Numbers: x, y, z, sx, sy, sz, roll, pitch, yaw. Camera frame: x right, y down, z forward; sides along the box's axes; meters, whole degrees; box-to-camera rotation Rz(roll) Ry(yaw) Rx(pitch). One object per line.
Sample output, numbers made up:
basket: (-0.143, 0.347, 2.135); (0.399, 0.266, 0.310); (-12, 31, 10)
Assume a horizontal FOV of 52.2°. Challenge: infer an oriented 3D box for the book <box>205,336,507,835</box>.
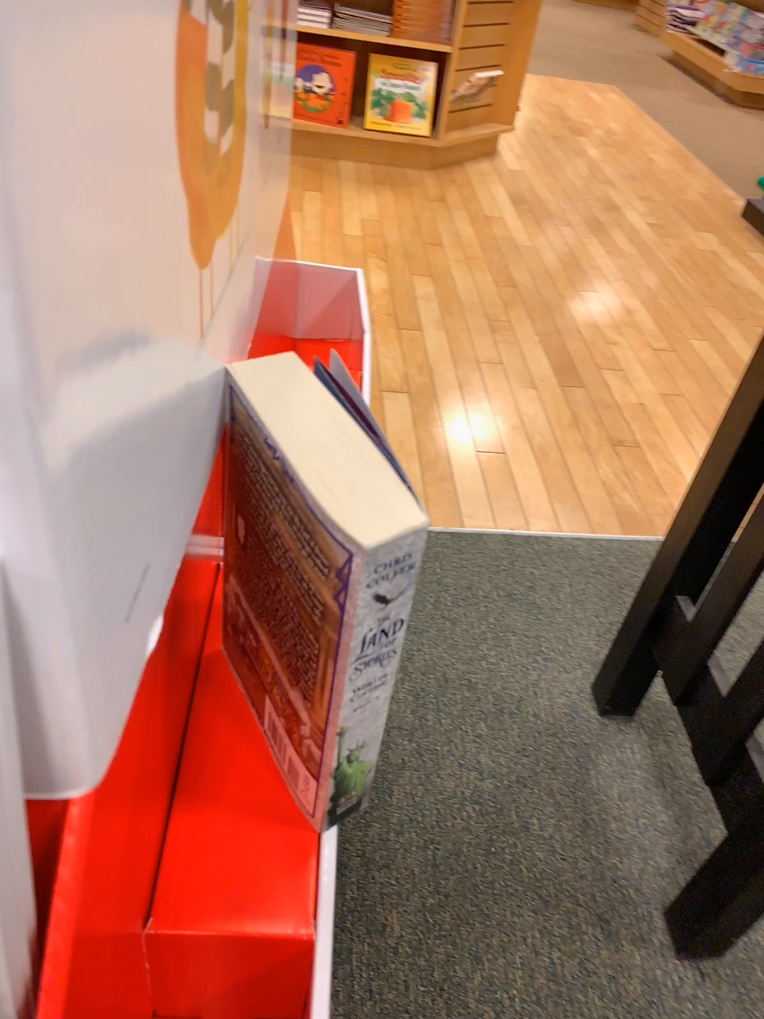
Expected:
book: (-0.027, 0.039, 0.374); (0.065, 0.193, 0.130); (-17, 47, -28)
